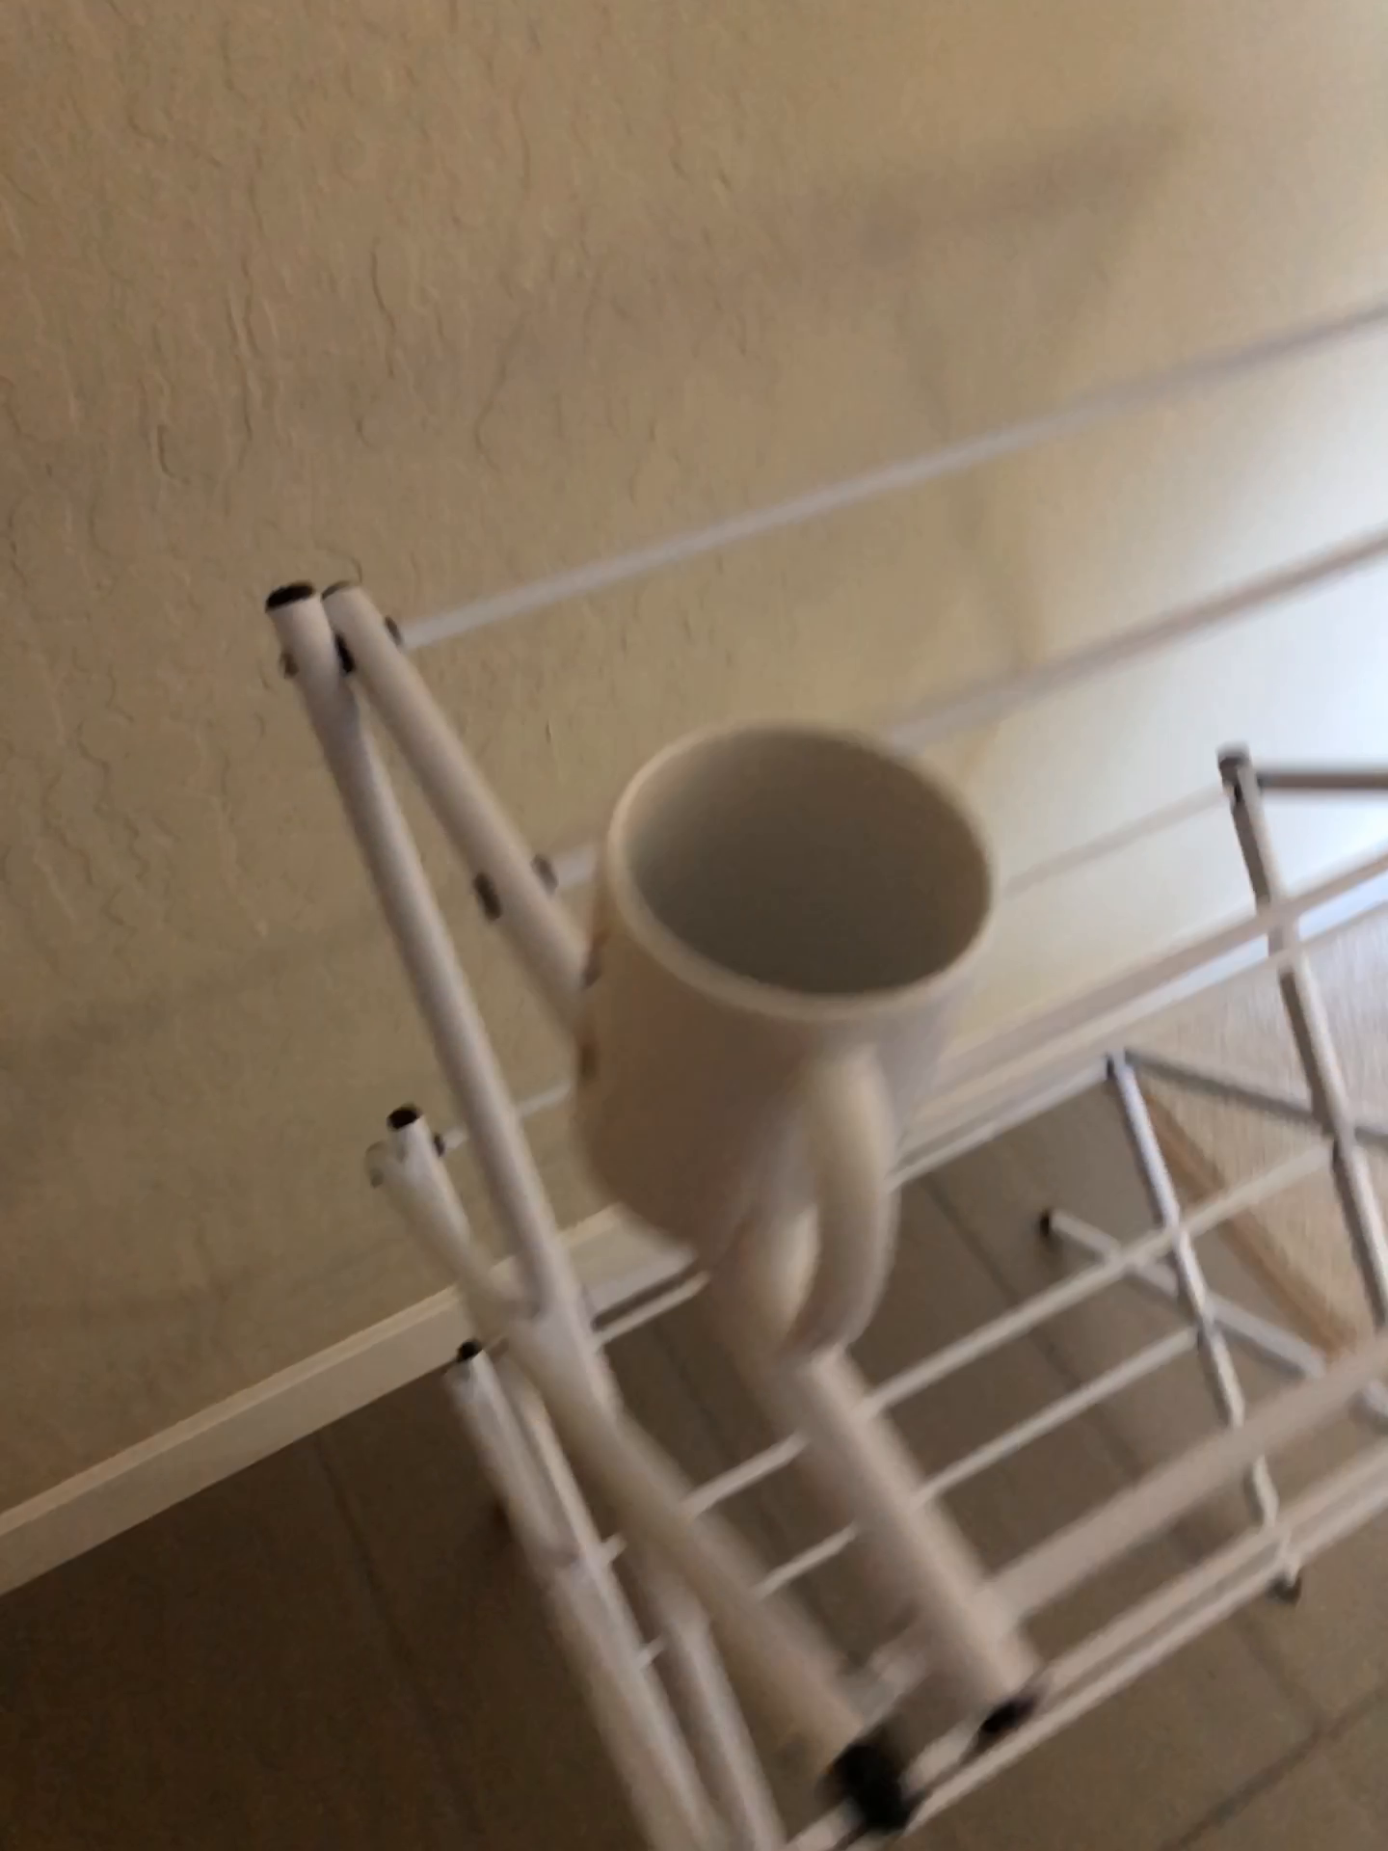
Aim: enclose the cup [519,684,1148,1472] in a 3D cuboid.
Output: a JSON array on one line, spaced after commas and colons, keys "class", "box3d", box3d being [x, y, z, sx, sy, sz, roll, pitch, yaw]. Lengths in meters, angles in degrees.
[{"class": "cup", "box3d": [0.015, 0.027, 0.318, 0.090, 0.090, 0.131, -2, 49, -11]}]
